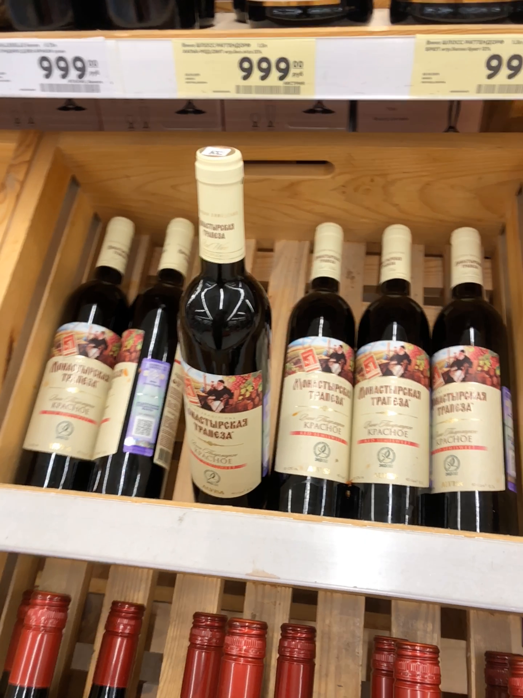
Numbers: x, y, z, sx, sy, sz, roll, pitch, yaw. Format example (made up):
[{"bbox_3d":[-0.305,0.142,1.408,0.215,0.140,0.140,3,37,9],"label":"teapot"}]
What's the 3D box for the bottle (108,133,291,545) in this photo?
[{"bbox_3d":[-0.030,0.009,0.436,0.080,0.308,0.080,-2,35,1],"label":"bottle"}]
